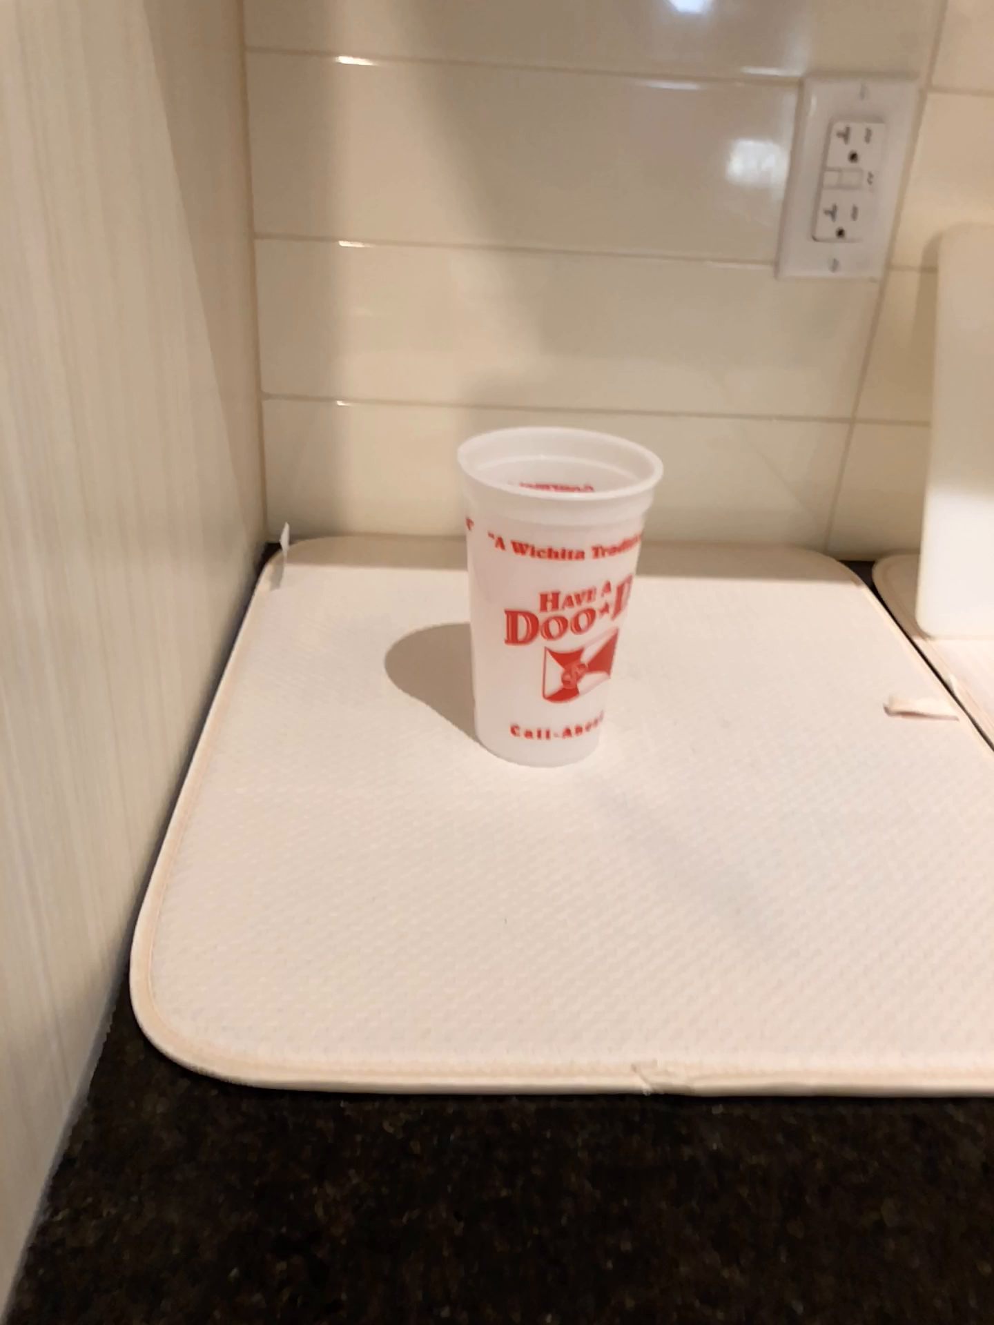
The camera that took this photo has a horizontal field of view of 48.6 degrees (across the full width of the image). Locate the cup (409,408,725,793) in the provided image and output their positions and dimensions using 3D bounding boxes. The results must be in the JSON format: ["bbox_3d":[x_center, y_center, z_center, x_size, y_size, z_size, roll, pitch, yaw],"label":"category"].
[{"bbox_3d":[0.027,-0.035,0.529,0.100,0.139,0.100,3,29,-2],"label":"cup"}]
